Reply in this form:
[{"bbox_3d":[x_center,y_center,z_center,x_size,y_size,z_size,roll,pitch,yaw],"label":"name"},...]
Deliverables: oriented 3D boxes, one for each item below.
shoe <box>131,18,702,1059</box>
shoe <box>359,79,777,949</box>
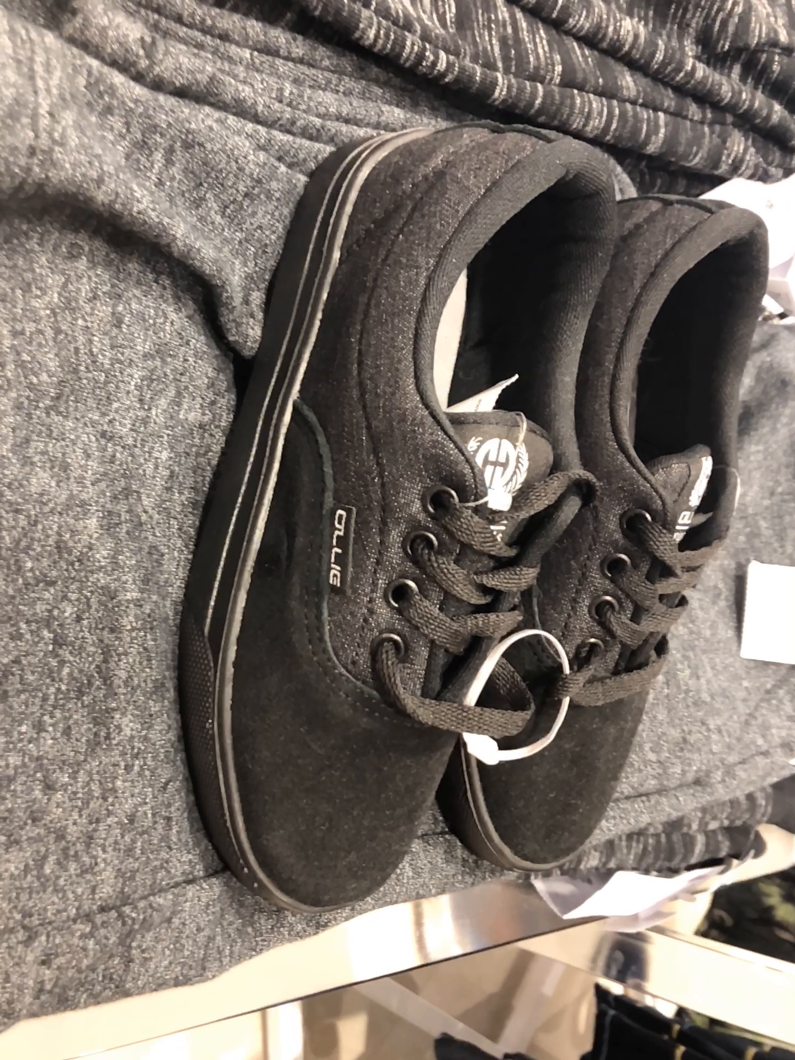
[{"bbox_3d":[0.008,0.007,0.236,0.091,0.079,0.220,13,84,-41],"label":"shoe"},{"bbox_3d":[0.059,-0.004,0.302,0.091,0.079,0.240,7,88,-42],"label":"shoe"}]
